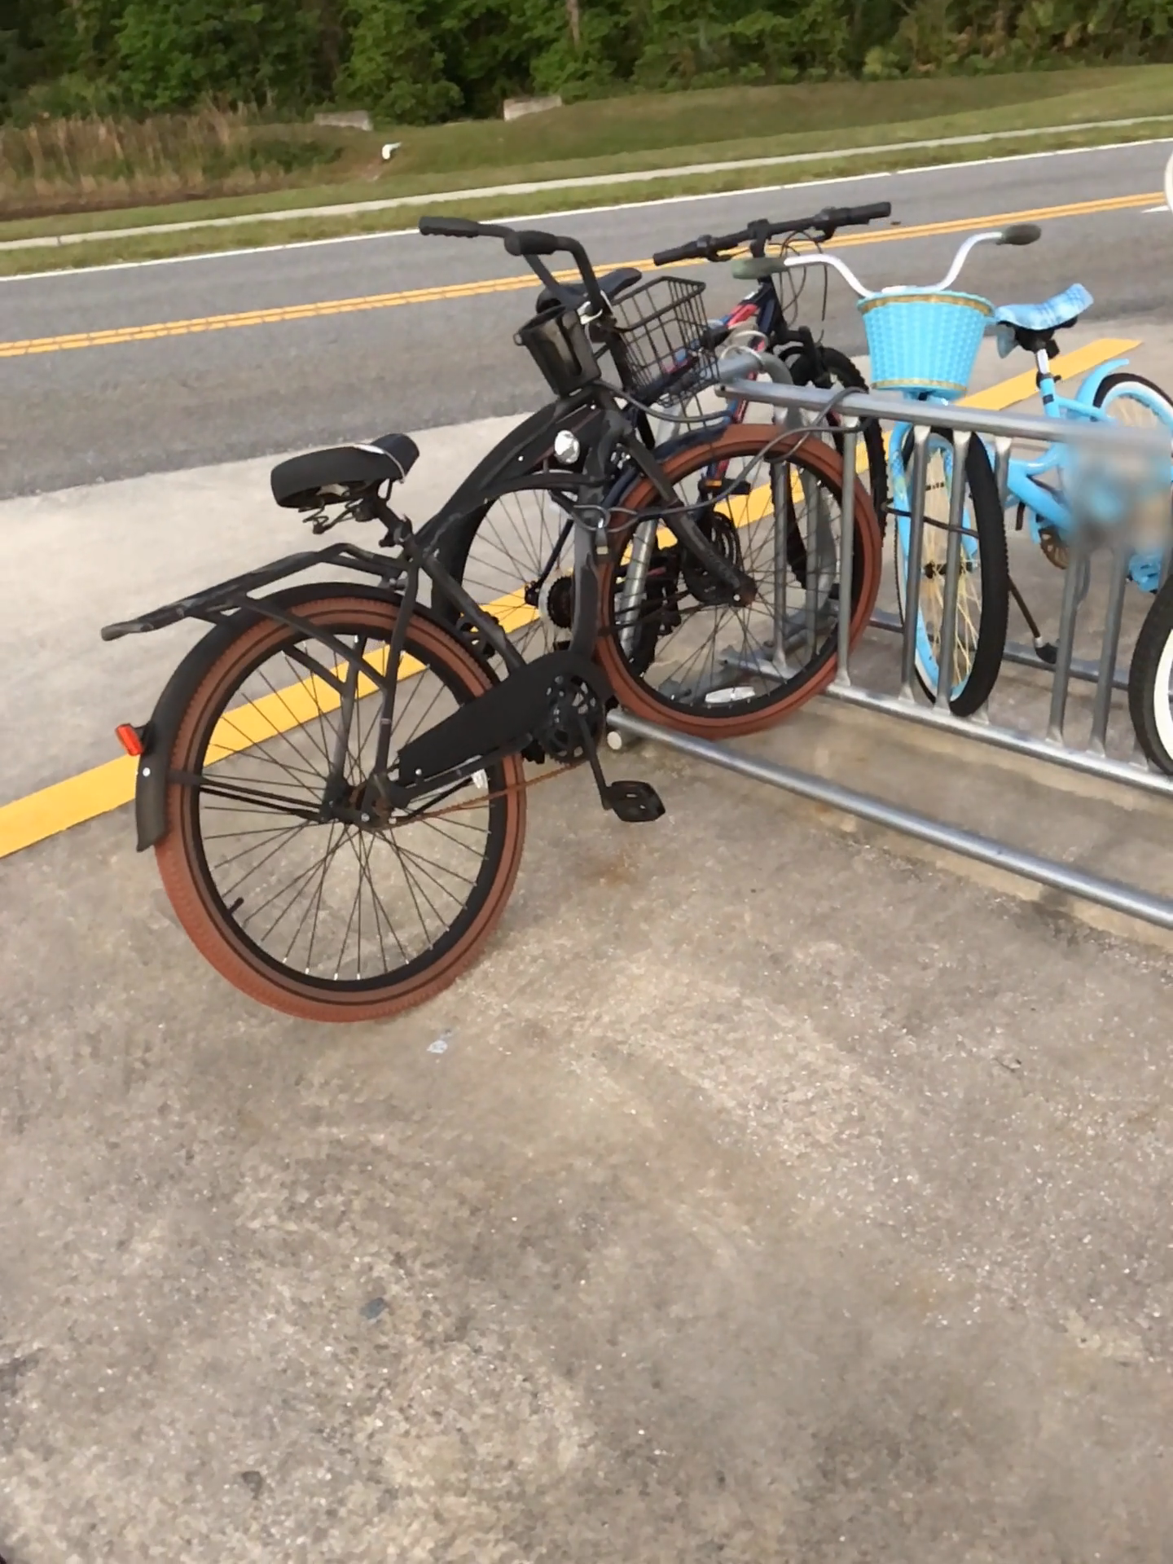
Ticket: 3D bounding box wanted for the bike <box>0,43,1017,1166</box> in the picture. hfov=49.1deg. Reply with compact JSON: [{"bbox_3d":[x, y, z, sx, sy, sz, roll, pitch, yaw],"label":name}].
[{"bbox_3d":[-0.090,-0.476,2.295,0.831,1.117,1.726,20,43,37],"label":"bike"}]
